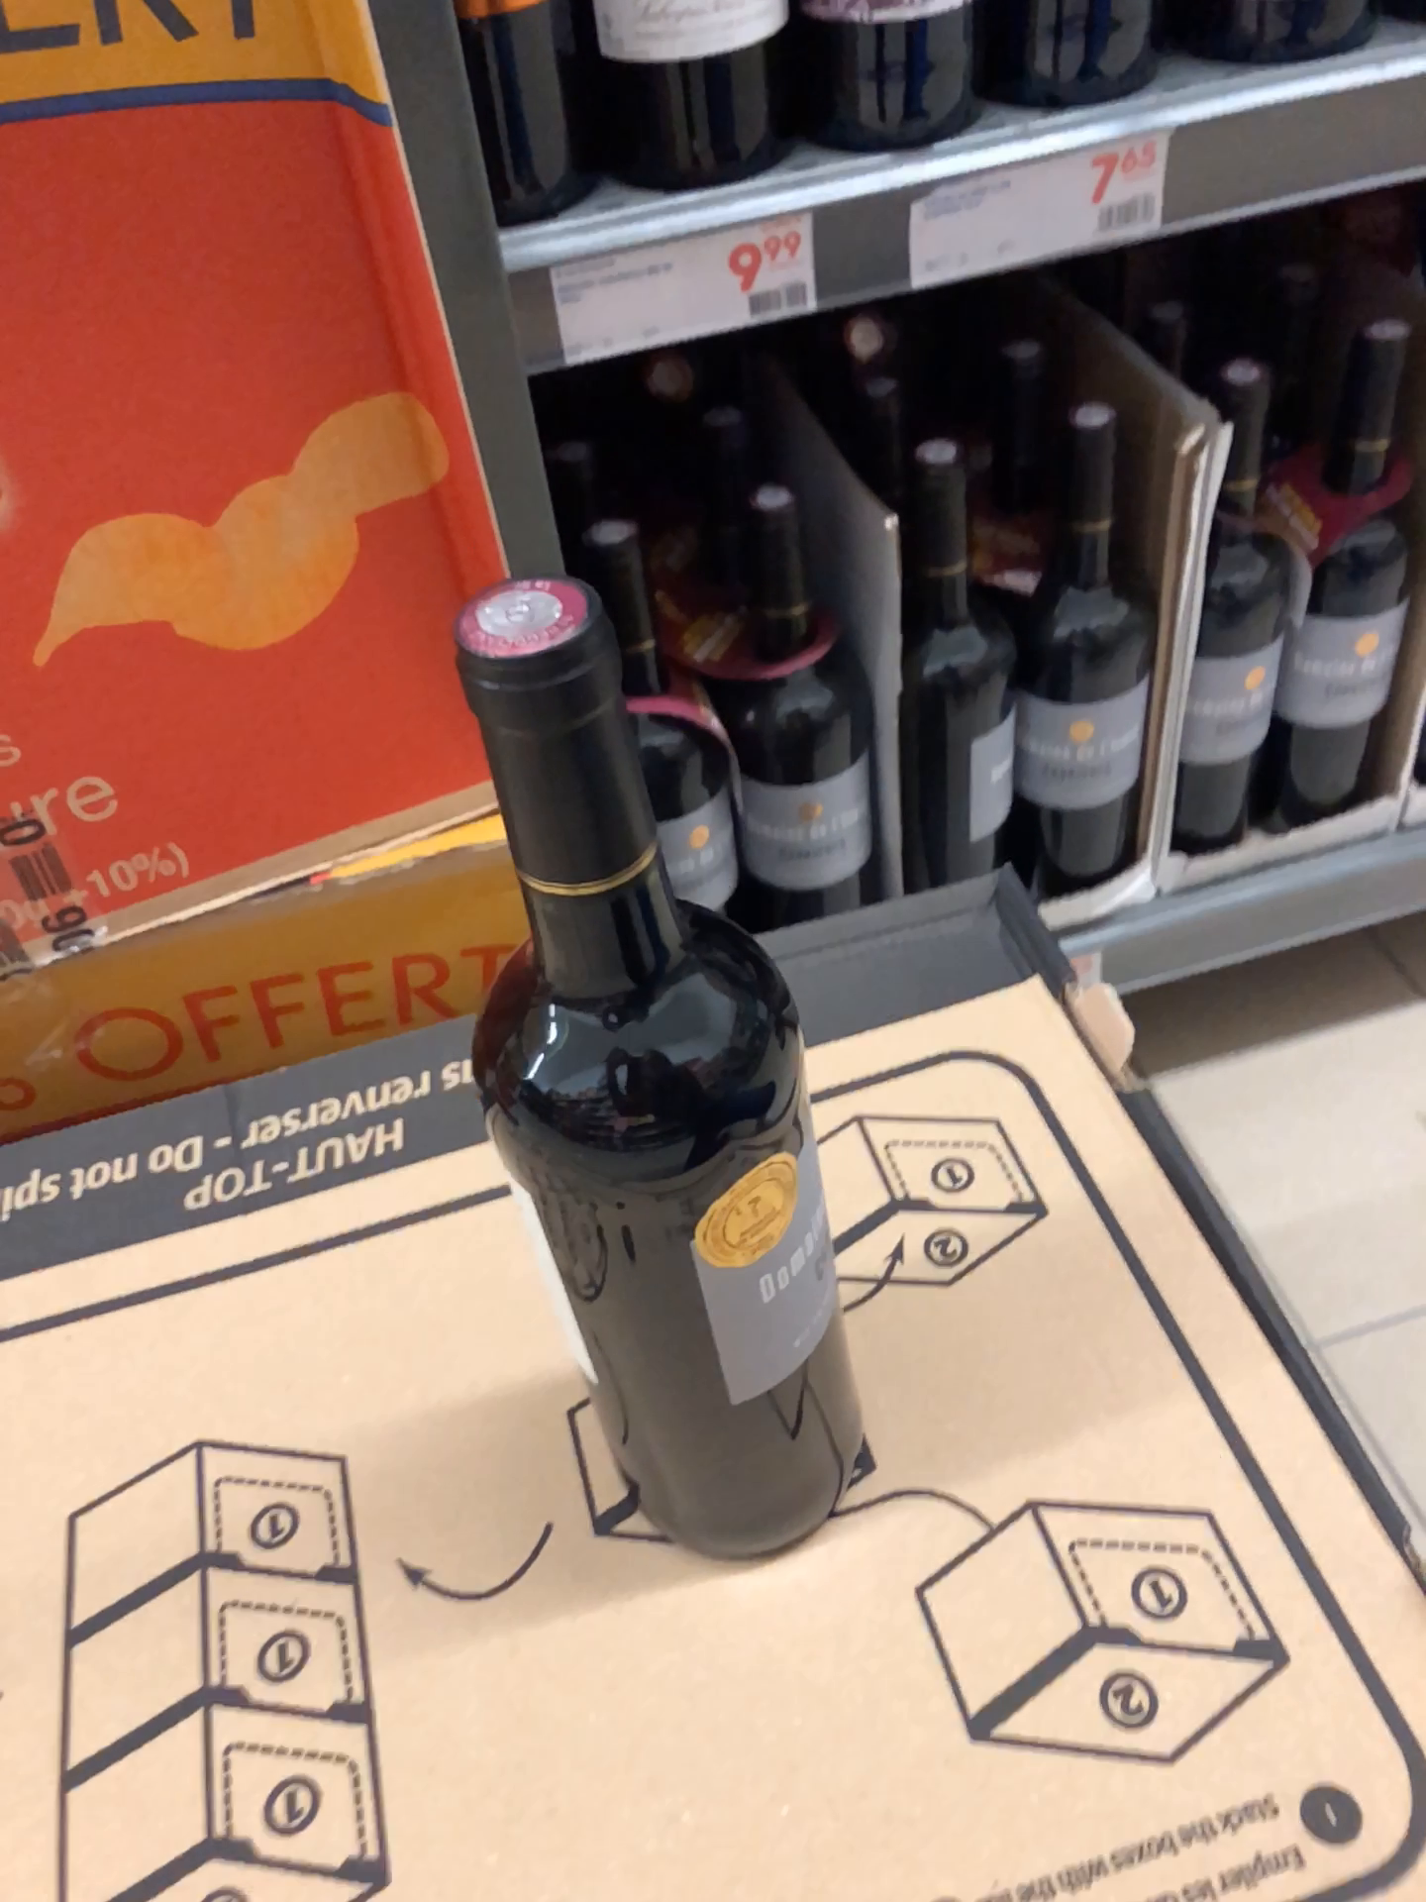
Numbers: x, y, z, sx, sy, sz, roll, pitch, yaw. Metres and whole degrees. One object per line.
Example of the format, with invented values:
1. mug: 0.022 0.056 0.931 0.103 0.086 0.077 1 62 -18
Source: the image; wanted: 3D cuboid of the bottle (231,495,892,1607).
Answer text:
1. bottle: -0.010 0.048 0.361 0.090 0.278 0.091 -4 45 4
